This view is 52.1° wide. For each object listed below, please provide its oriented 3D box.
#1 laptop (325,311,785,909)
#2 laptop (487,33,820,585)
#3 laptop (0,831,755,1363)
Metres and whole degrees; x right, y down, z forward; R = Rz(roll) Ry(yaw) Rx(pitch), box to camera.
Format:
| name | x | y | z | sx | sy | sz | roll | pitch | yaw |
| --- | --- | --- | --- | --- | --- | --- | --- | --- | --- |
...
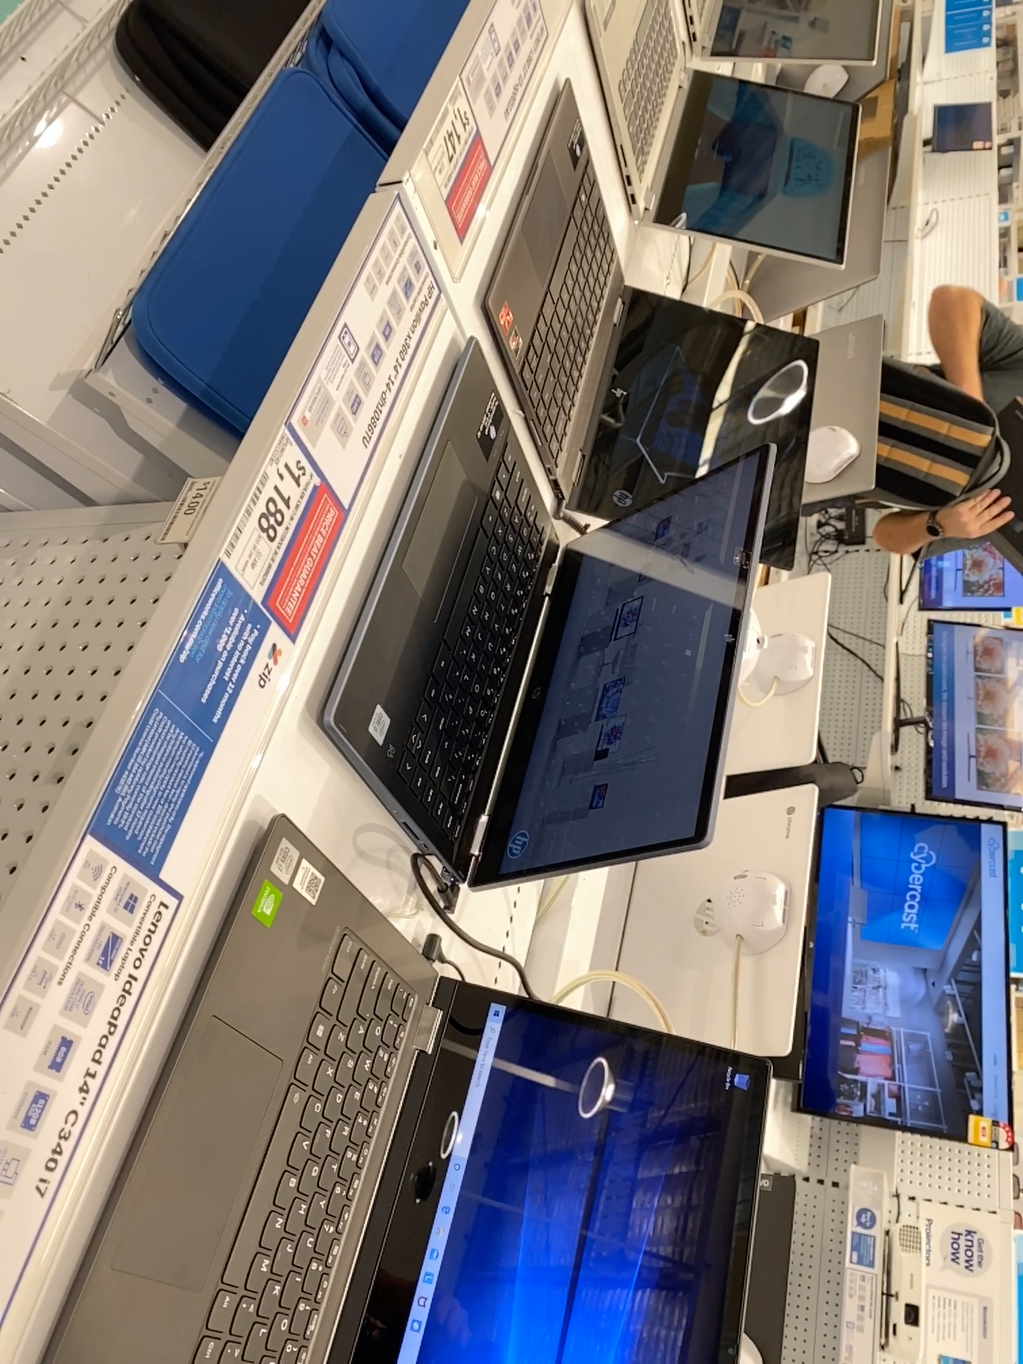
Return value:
| name | x | y | z | sx | sy | sz | roll | pitch | yaw |
| --- | --- | --- | --- | --- | --- | --- | --- | --- | --- |
| laptop | 0.056 | -0.046 | 0.695 | 0.212 | 0.189 | 0.313 | 61 | 38 | -50 |
| laptop | 0.155 | -0.314 | 0.930 | 0.325 | 0.173 | 0.326 | 59 | 37 | -48 |
| laptop | -0.018 | 0.285 | 0.517 | 0.295 | 0.199 | 0.306 | 62 | 35 | -48 |
